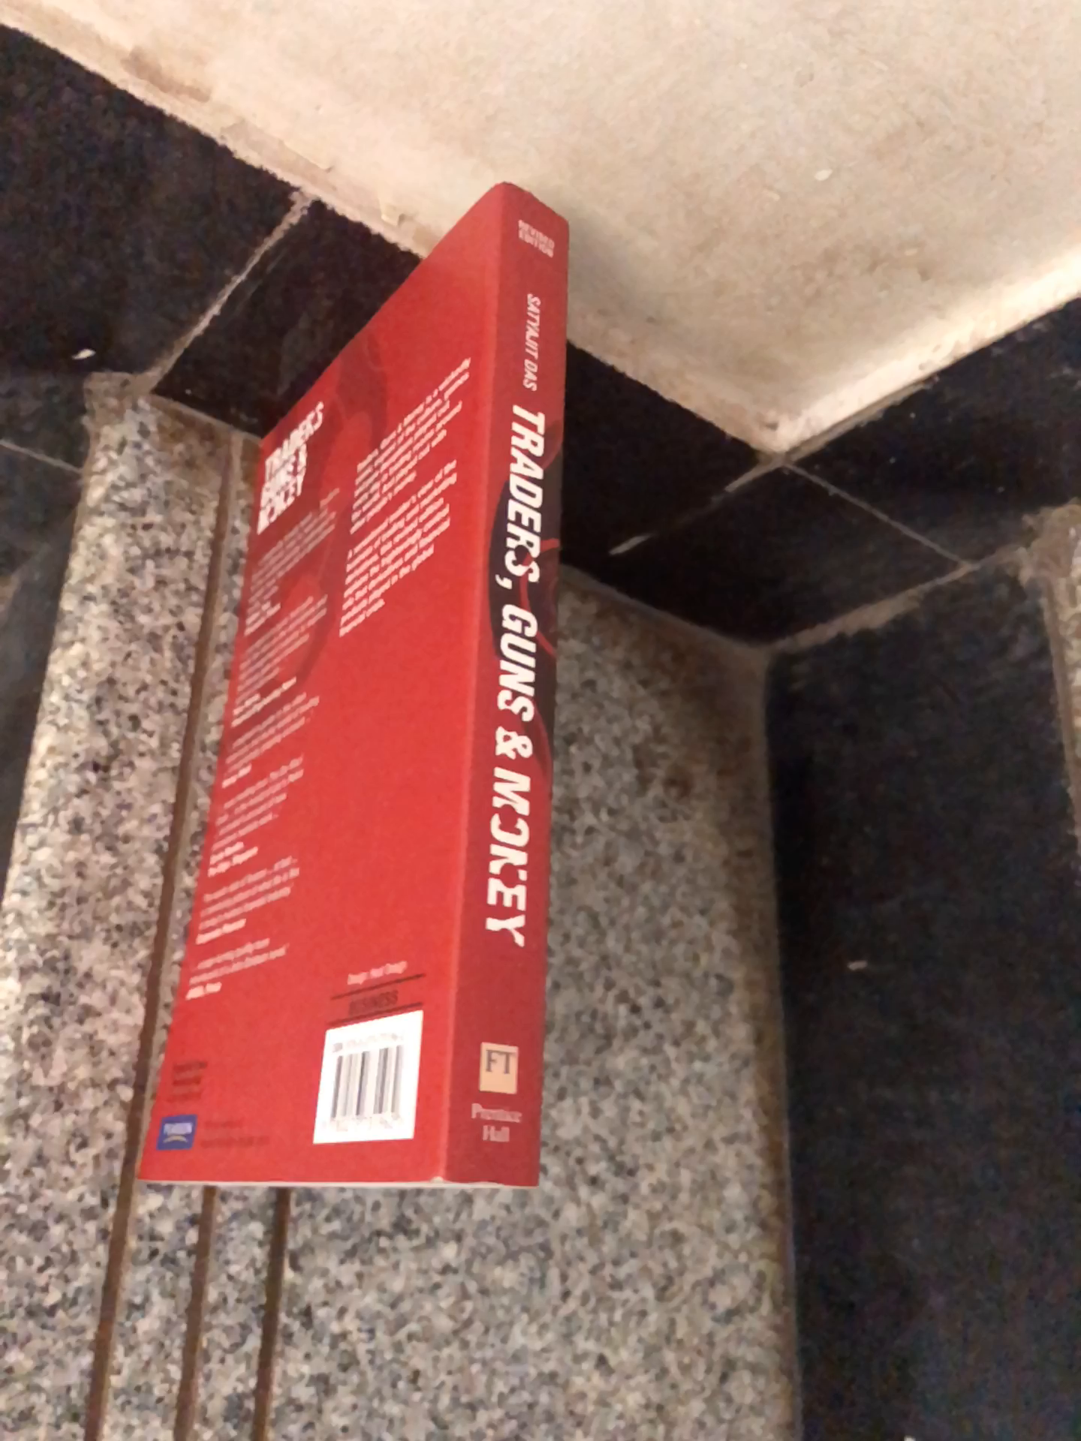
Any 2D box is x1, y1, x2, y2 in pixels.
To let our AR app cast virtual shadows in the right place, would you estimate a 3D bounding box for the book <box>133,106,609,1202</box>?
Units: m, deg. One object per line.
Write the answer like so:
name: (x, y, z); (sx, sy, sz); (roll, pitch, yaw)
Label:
book: (-0.043, -0.008, 0.295); (0.030, 0.149, 0.230); (17, 63, -30)
